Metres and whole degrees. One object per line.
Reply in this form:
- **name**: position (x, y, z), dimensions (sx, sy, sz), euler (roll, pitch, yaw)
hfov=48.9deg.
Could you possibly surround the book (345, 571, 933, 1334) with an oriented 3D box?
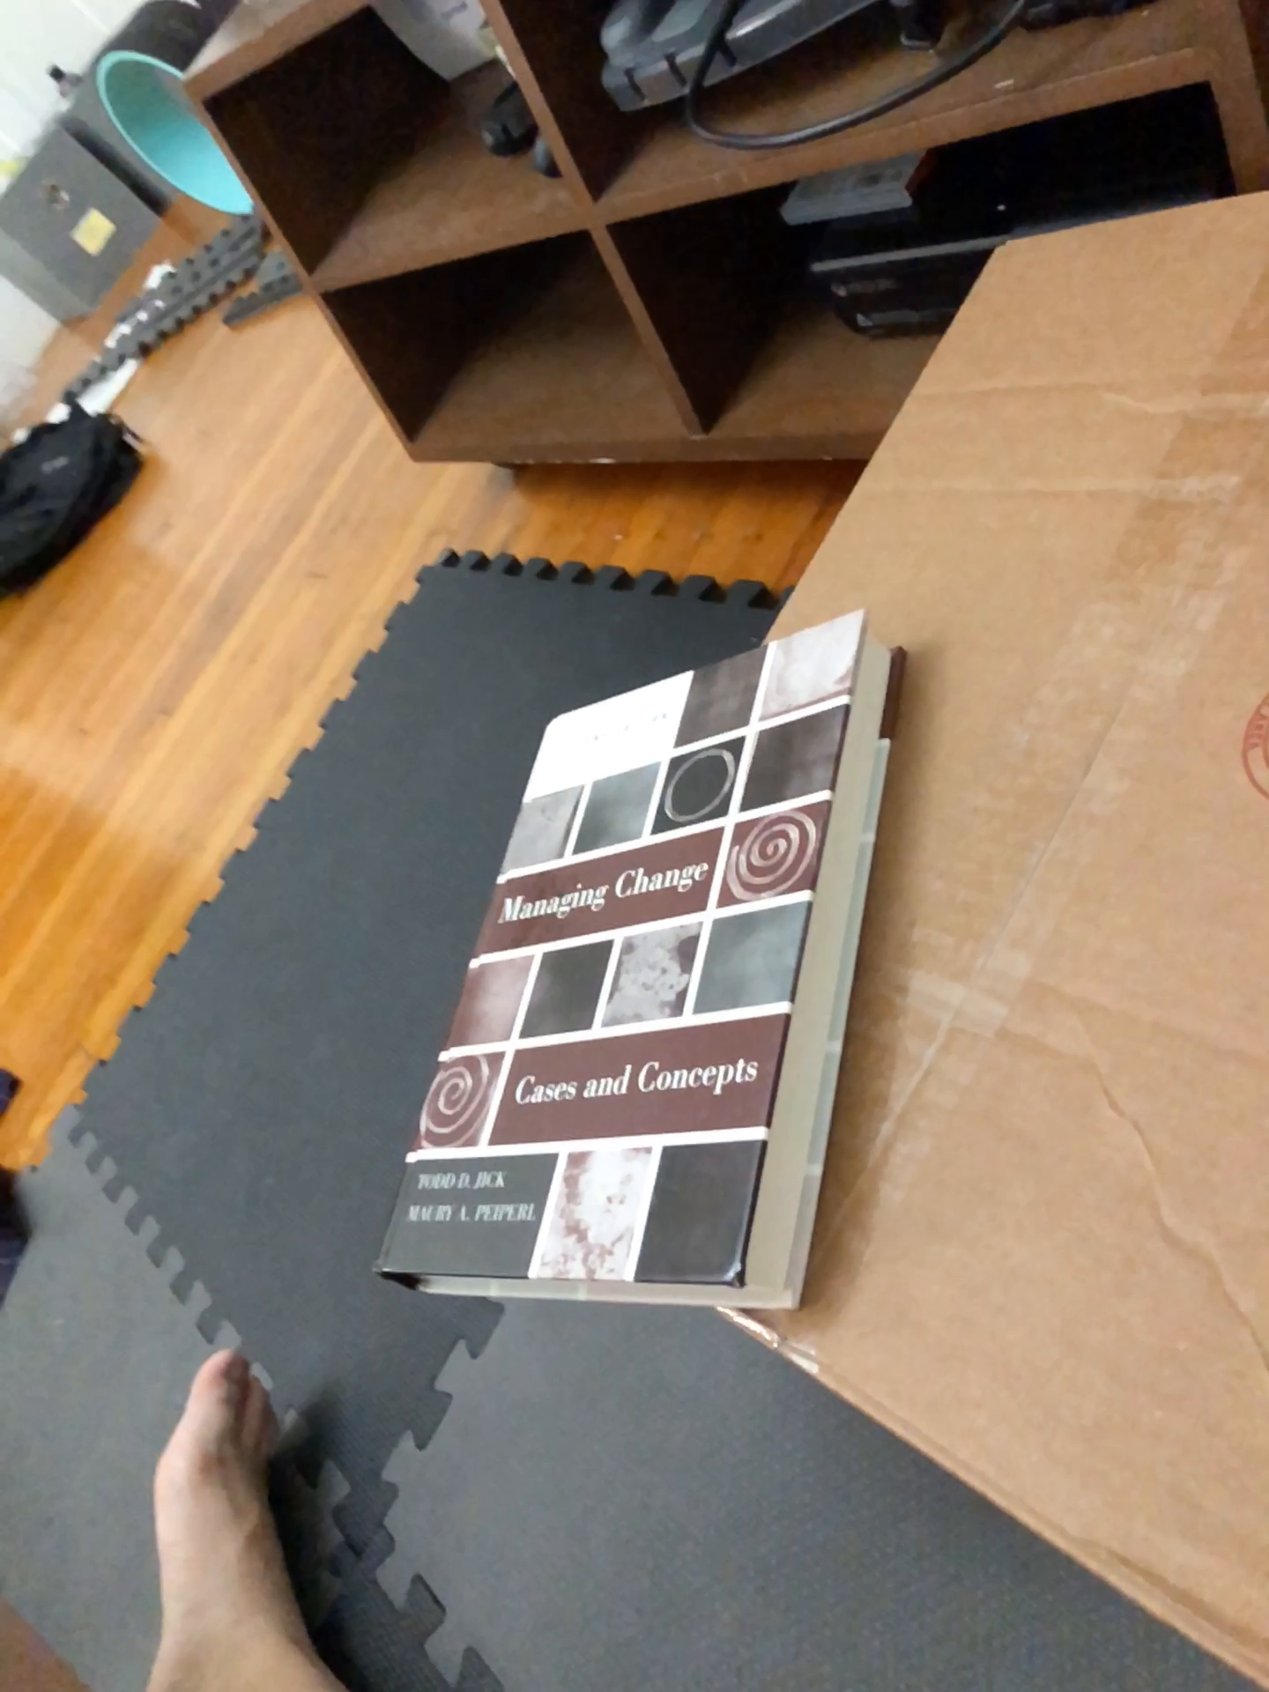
- **book**: position (0.004, 0.034, 0.490), dimensions (0.180, 0.030, 0.251), euler (-13, 51, 40)
